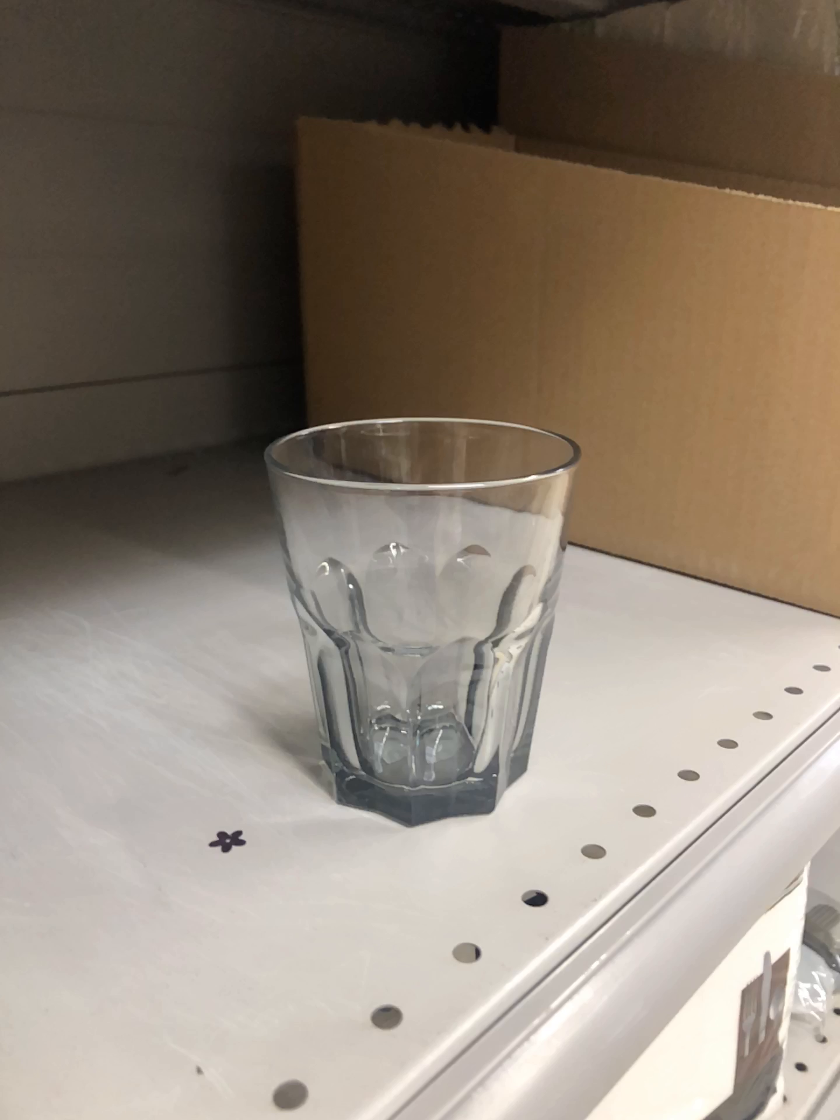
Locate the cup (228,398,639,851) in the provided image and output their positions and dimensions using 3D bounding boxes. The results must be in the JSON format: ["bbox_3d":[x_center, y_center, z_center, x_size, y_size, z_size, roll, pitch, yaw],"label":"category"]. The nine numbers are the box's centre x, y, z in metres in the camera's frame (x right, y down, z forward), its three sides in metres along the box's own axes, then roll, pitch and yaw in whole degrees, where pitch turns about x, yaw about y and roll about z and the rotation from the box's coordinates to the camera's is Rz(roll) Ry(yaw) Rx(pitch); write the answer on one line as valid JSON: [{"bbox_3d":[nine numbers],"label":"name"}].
[{"bbox_3d":[-0.002,0.009,0.261,0.086,0.092,0.082,1,19,0],"label":"cup"}]
